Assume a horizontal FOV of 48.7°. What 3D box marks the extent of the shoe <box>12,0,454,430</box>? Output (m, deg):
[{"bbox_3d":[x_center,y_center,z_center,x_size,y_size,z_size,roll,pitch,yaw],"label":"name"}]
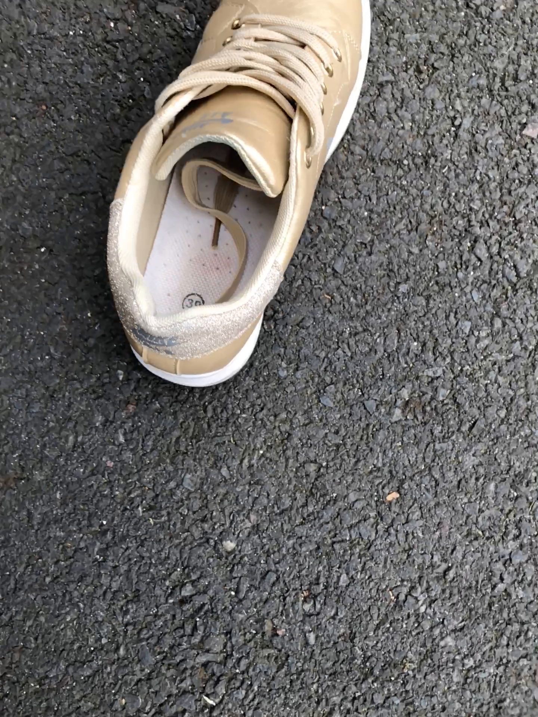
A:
[{"bbox_3d":[-0.012,-0.109,0.300,0.116,0.100,0.260,16,87,2],"label":"shoe"}]
